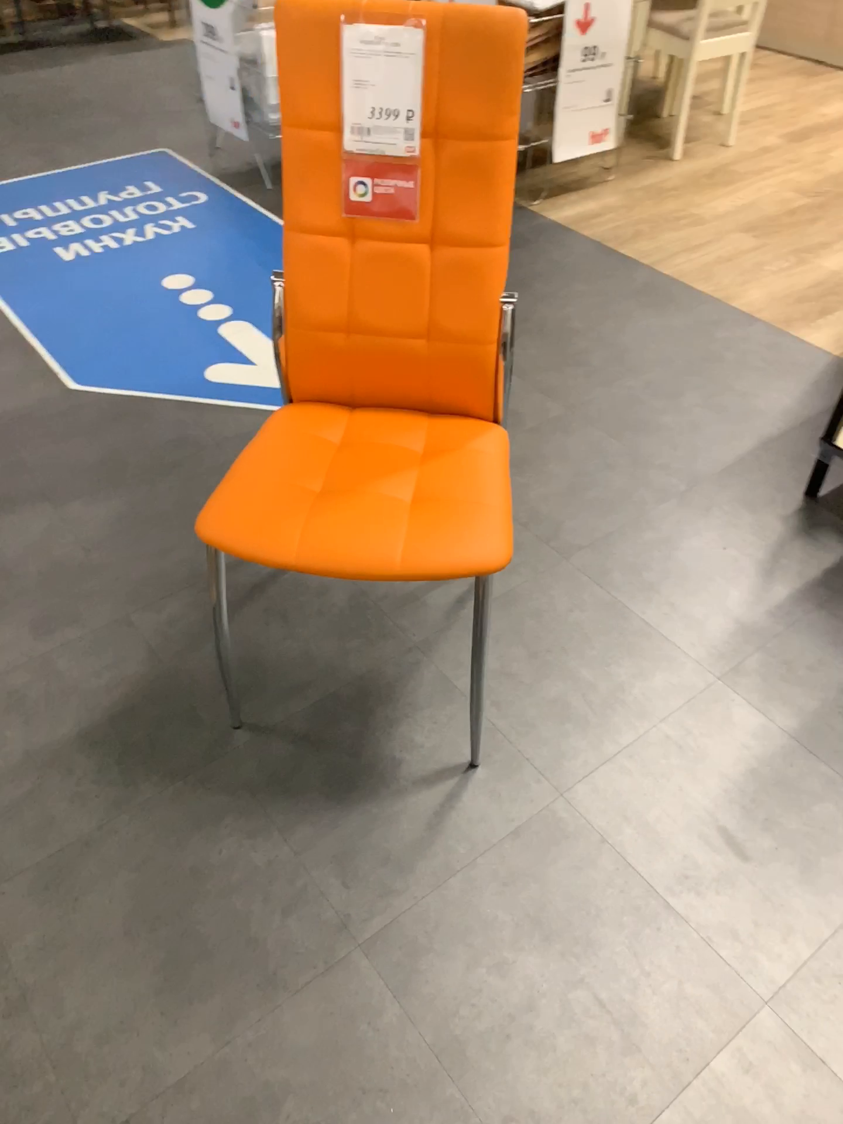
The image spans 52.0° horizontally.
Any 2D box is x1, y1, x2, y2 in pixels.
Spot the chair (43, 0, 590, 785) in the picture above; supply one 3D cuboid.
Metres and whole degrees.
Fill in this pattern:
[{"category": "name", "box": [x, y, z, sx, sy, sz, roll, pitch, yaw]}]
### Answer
[{"category": "chair", "box": [-0.073, -0.214, 1.329, 0.490, 1.014, 0.543, 8, 43, 8]}]
